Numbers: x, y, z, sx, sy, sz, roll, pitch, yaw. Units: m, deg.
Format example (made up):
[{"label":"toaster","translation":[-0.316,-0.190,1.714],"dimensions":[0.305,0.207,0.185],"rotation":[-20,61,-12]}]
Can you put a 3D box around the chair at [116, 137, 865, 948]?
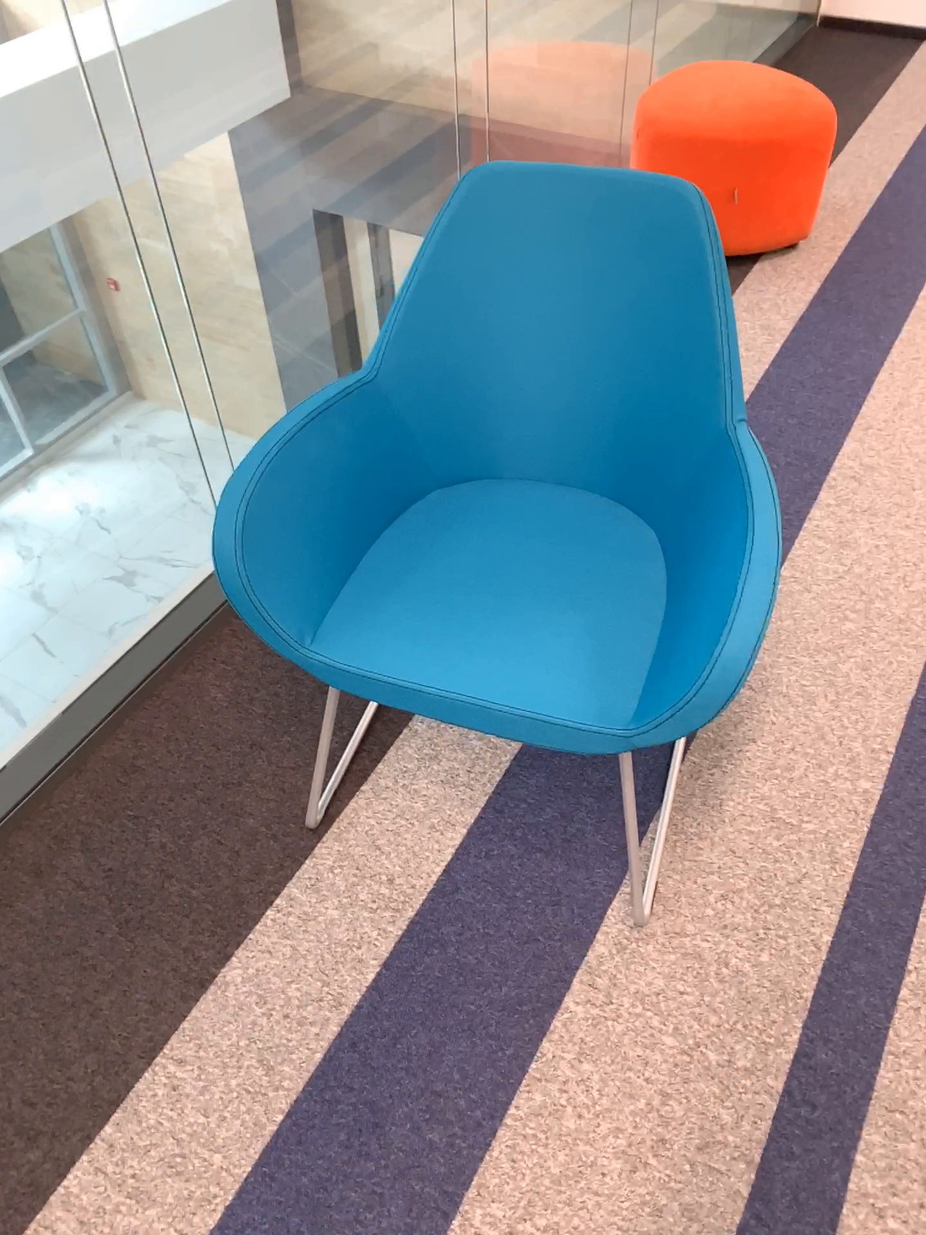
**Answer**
[{"label":"chair","translation":[0.095,-0.104,1.370],"dimensions":[0.671,0.836,0.653],"rotation":[13,49,15]}]

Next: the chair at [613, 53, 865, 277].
[{"label":"chair","translation":[0.895,-1.487,3.065],"dimensions":[0.640,0.396,0.653],"rotation":[13,49,15]}]
